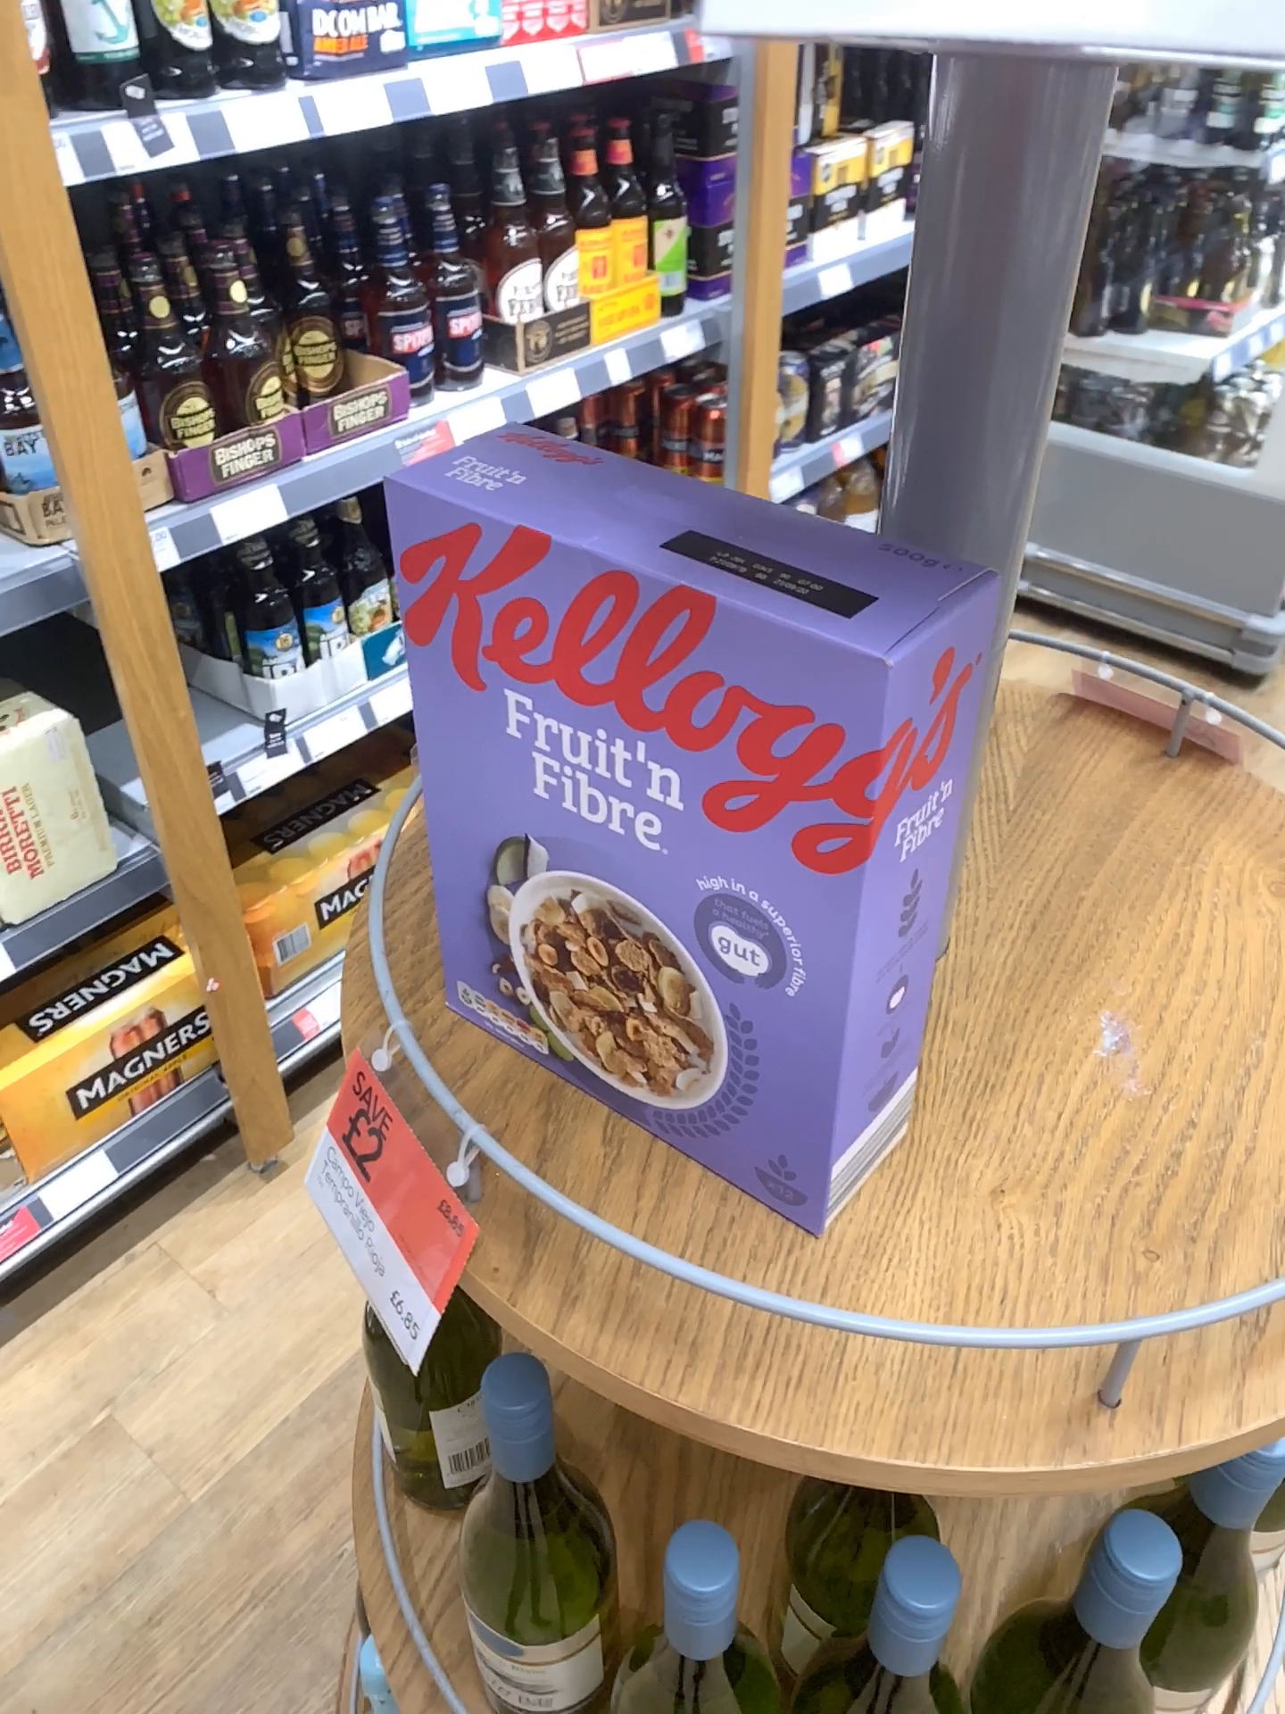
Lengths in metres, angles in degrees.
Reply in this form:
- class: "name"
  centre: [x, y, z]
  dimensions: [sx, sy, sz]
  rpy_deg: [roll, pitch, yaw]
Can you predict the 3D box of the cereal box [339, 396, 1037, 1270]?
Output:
- class: "cereal box"
  centre: [0.004, -0.008, 0.453]
  dimensions: [0.201, 0.238, 0.070]
  rpy_deg: [27, 45, 29]
